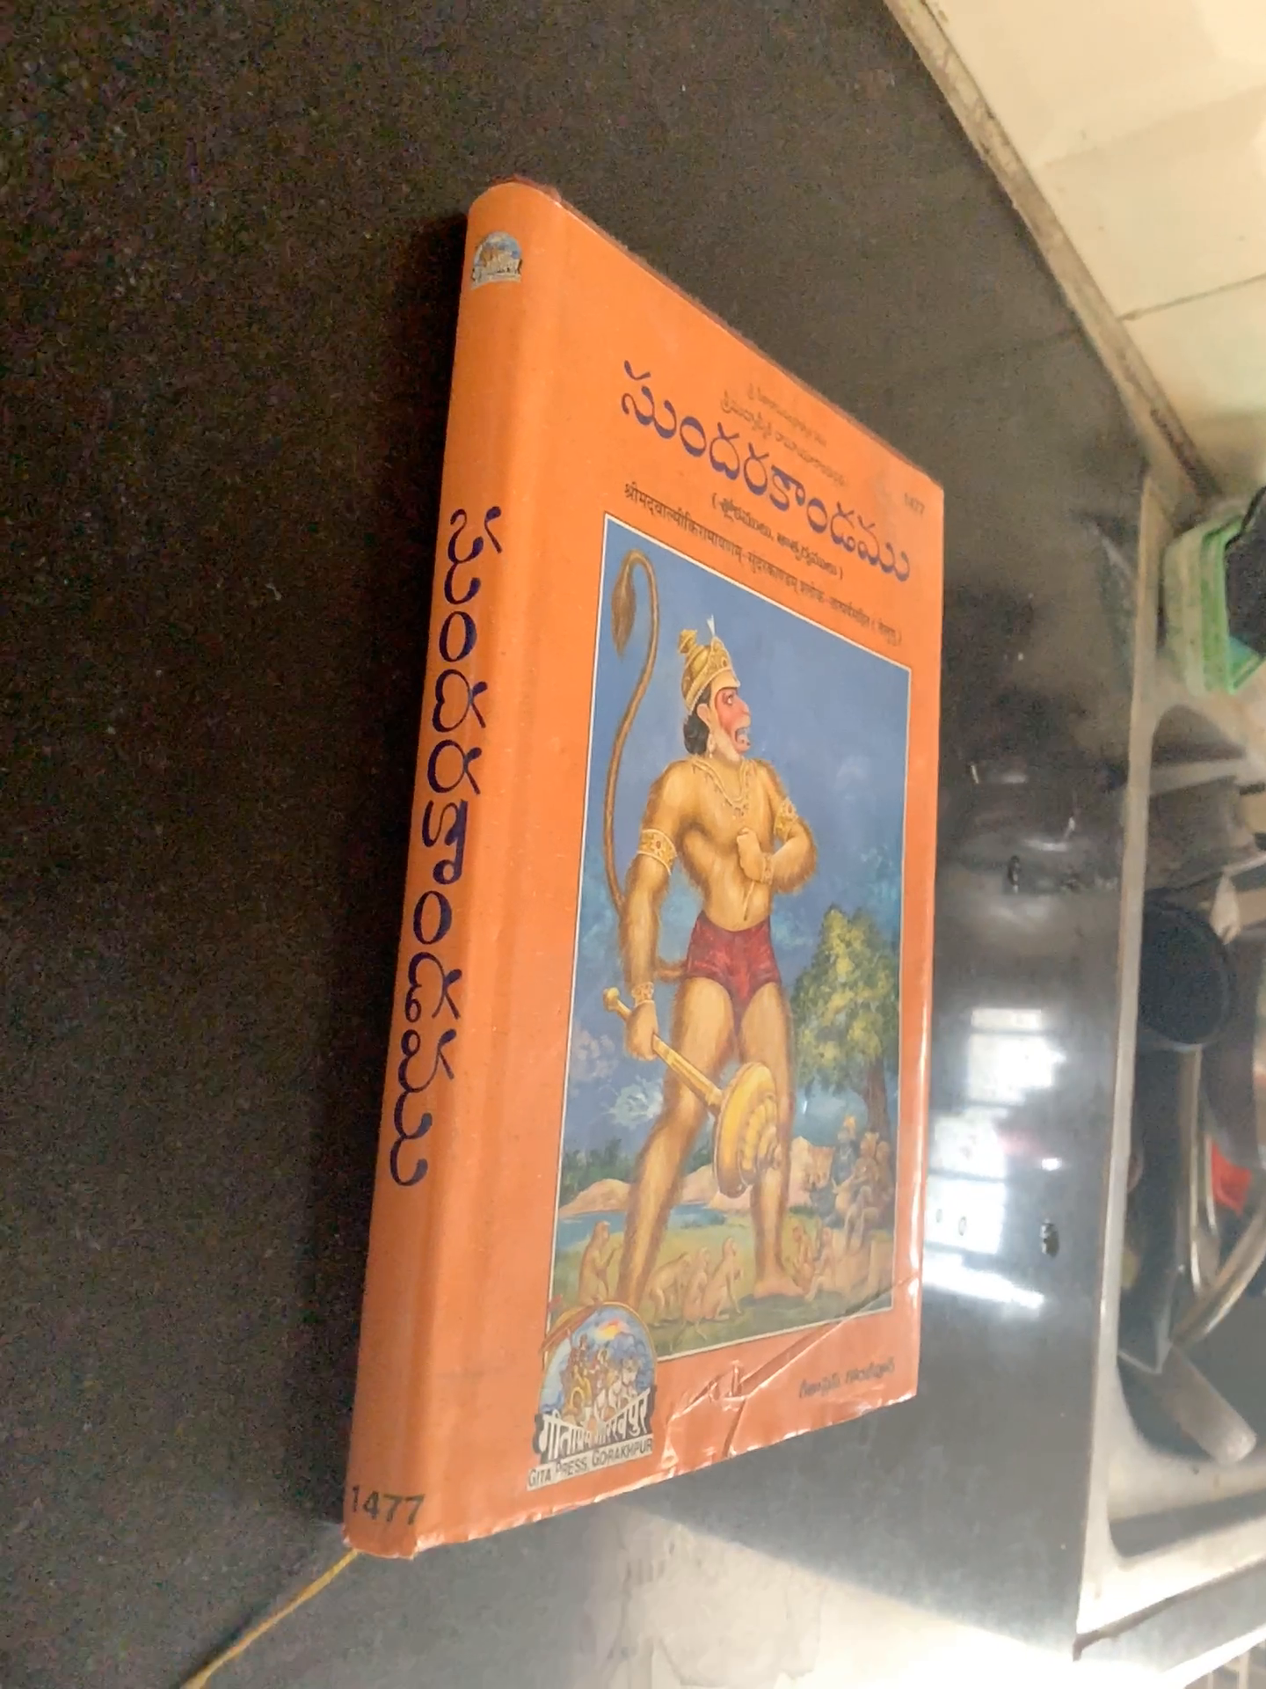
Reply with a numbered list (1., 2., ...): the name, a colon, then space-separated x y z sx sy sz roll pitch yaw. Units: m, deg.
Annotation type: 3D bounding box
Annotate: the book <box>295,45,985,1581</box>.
1. book: 0.024 -0.003 0.340 0.201 0.040 0.300 14 77 -49
